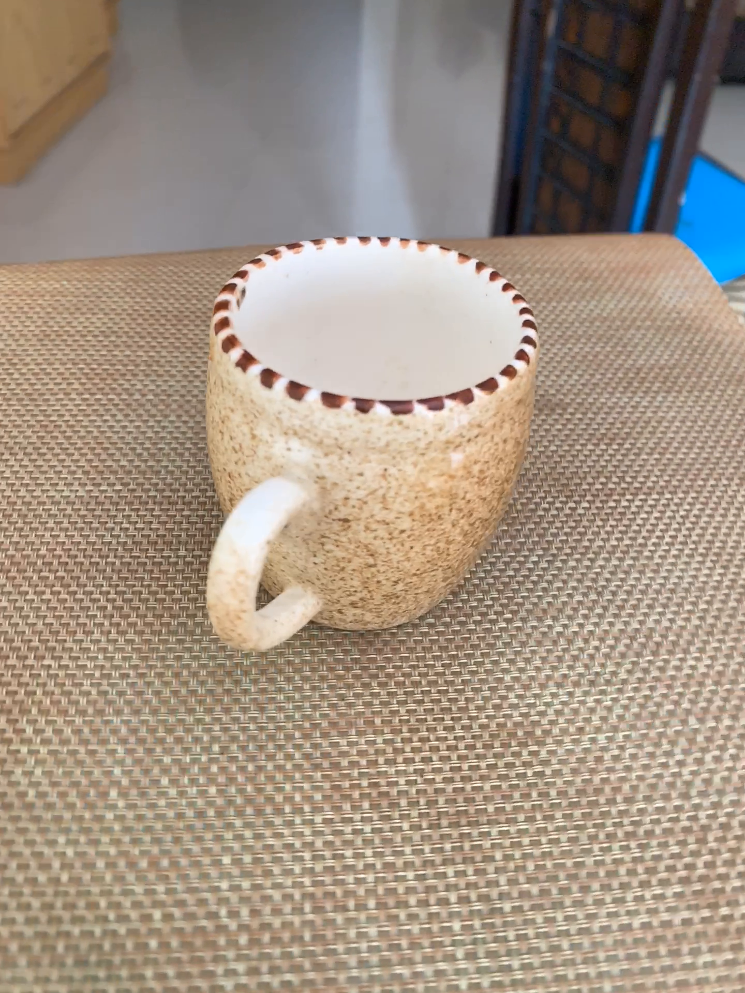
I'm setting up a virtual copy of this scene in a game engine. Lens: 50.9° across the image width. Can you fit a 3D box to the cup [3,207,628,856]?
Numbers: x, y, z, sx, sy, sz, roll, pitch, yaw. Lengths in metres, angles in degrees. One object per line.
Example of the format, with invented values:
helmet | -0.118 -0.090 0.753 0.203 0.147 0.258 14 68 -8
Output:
cup | -0.004 0.001 0.158 0.070 0.069 0.091 23 48 17
